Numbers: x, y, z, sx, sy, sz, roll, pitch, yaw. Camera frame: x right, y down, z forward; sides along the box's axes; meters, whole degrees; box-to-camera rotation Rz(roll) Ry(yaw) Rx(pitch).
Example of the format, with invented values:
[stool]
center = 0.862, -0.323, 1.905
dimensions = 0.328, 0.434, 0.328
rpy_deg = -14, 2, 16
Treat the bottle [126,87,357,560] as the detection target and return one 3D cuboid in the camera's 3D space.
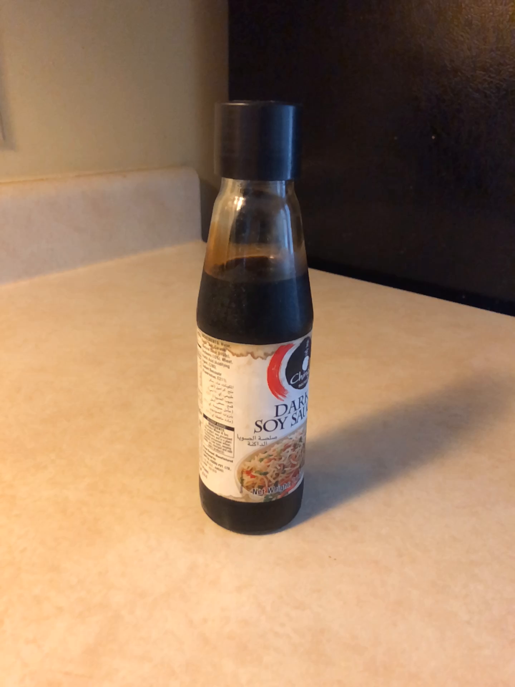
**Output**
[bottle]
center = -0.005, -0.009, 0.242
dimensions = 0.060, 0.180, 0.060
rpy_deg = 1, 23, 0
